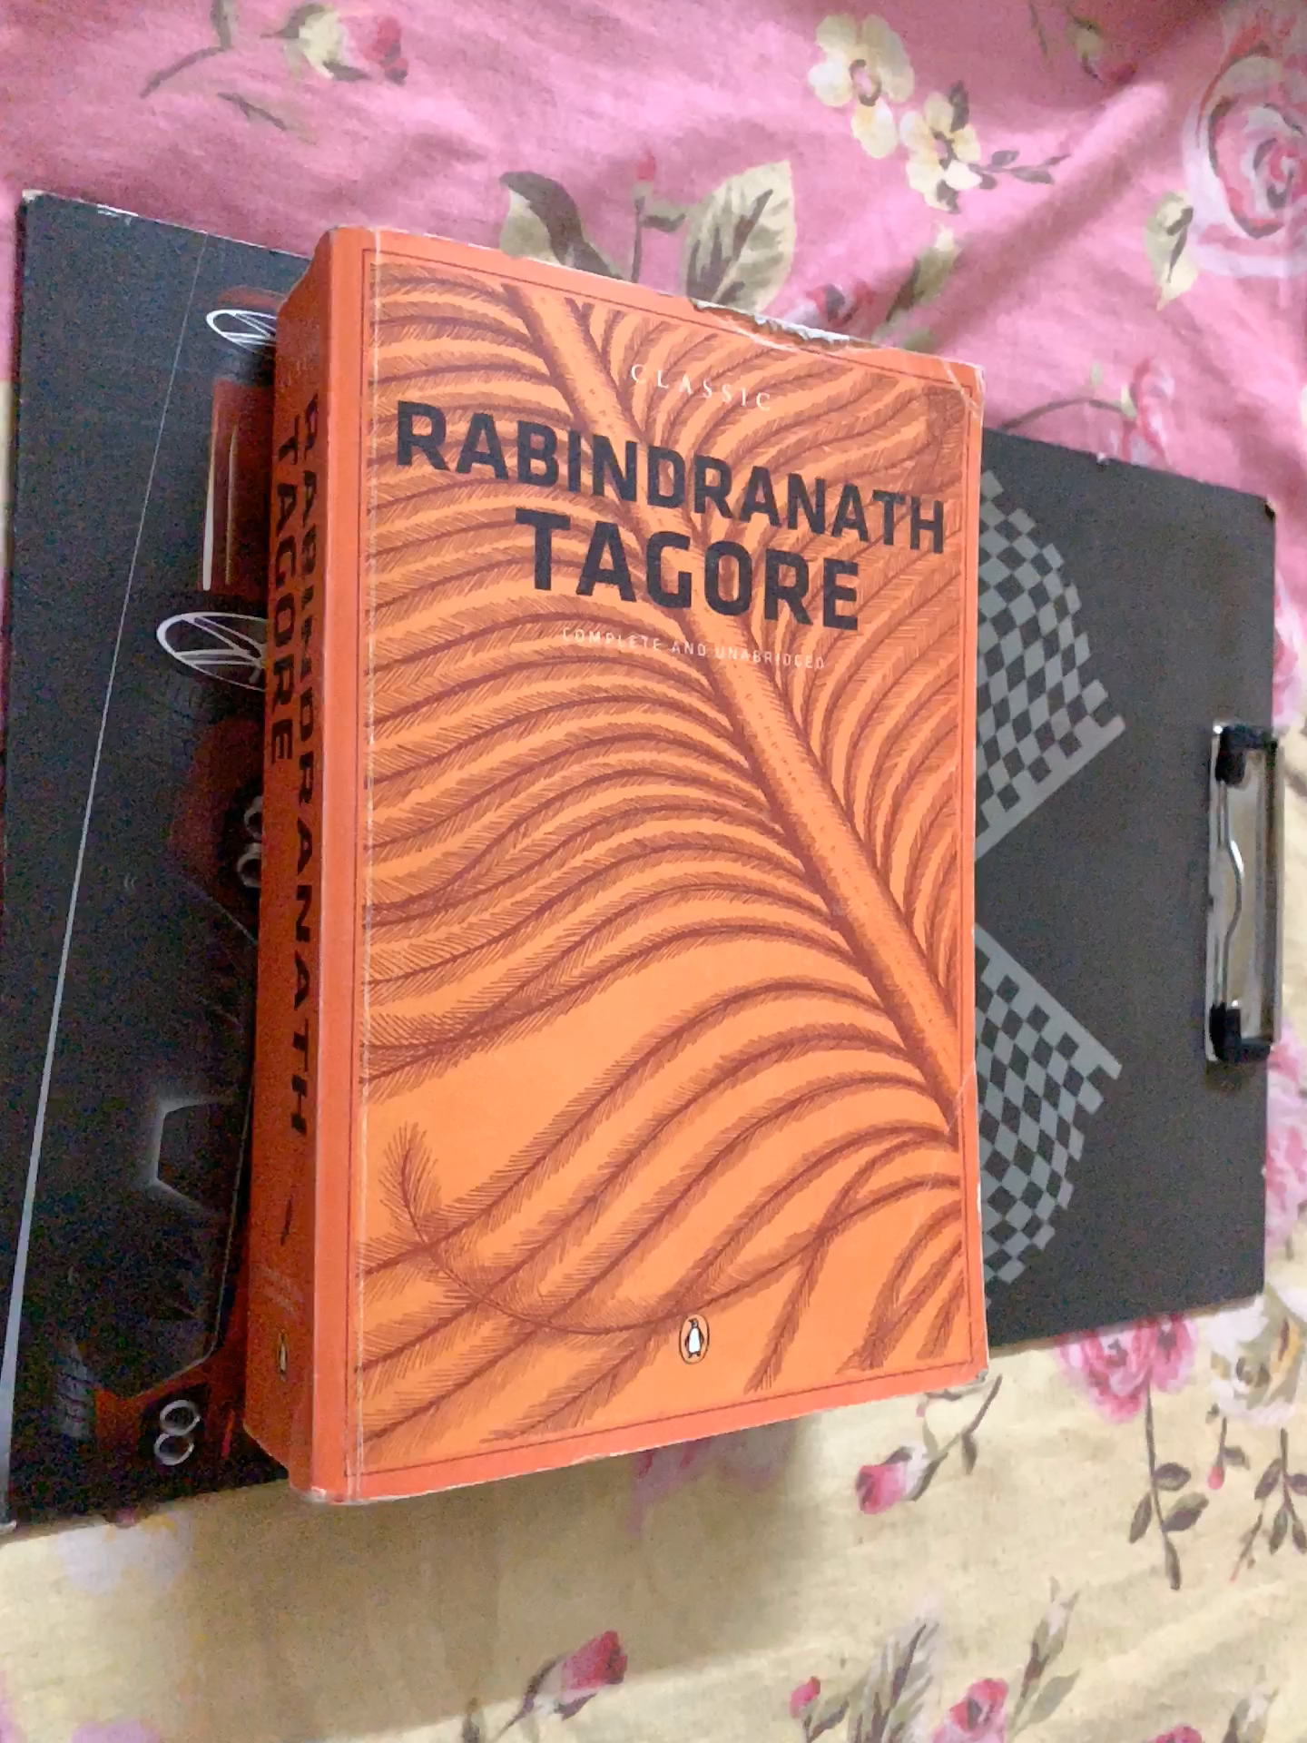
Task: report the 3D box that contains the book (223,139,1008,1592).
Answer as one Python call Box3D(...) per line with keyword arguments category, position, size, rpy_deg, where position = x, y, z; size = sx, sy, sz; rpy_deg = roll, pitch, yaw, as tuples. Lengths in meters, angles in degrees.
Box3D(category="book", position=(-0.004, -0.001, 0.253), size=(0.130, 0.060, 0.210), rpy_deg=(2, 86, -29))
